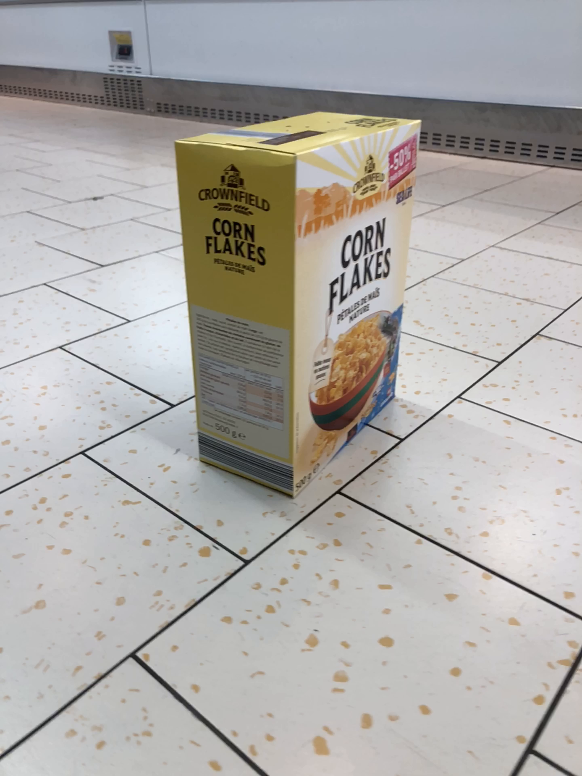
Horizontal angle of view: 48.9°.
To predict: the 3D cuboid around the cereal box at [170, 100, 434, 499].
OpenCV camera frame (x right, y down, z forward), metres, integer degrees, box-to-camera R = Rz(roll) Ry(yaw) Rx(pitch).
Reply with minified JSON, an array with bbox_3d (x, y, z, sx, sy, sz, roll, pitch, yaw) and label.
[{"bbox_3d":[0.018,-0.084,0.519,0.100,0.258,0.201,17,32,28],"label":"cereal box"}]
